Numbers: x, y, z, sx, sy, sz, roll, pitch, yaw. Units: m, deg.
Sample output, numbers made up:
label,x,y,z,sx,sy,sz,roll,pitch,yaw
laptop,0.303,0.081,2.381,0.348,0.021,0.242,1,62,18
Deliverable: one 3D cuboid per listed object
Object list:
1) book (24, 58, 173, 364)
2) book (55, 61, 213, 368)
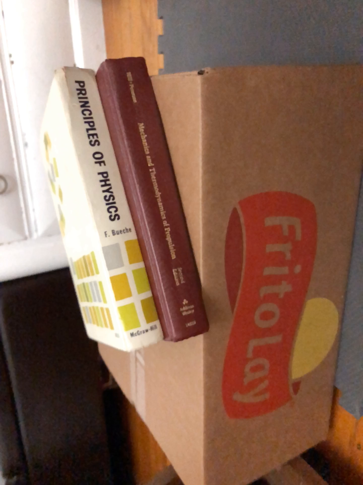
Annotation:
label,x,y,z,sx,sy,sz,roll,pitch,yaw
book,-0.097,-0.017,0.411,0.181,0.040,0.250,-18,87,63
book,-0.061,-0.017,0.414,0.181,0.040,0.250,-12,93,63
